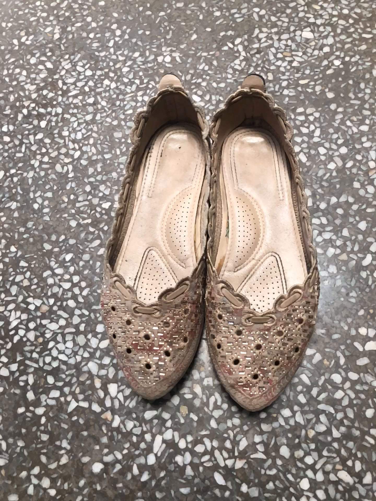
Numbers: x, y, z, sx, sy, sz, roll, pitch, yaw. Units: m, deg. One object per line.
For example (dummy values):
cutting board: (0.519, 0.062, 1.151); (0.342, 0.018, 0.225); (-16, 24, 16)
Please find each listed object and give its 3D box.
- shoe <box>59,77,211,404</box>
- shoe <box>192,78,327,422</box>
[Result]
shoe: (-0.034, -0.021, 0.356); (0.090, 0.040, 0.280); (2, 70, 7)
shoe: (0.059, -0.012, 0.339); (0.090, 0.040, 0.270); (2, 74, 7)
